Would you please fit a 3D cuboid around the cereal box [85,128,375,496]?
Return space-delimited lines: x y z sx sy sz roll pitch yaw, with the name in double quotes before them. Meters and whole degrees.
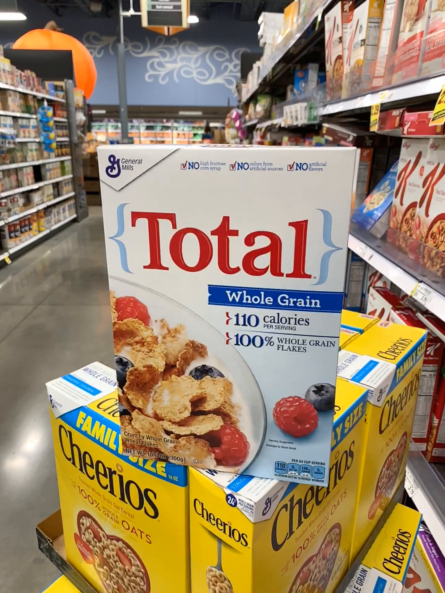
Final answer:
"cereal box" 0.005 0.016 0.395 0.210 0.299 0.050 4 19 13
